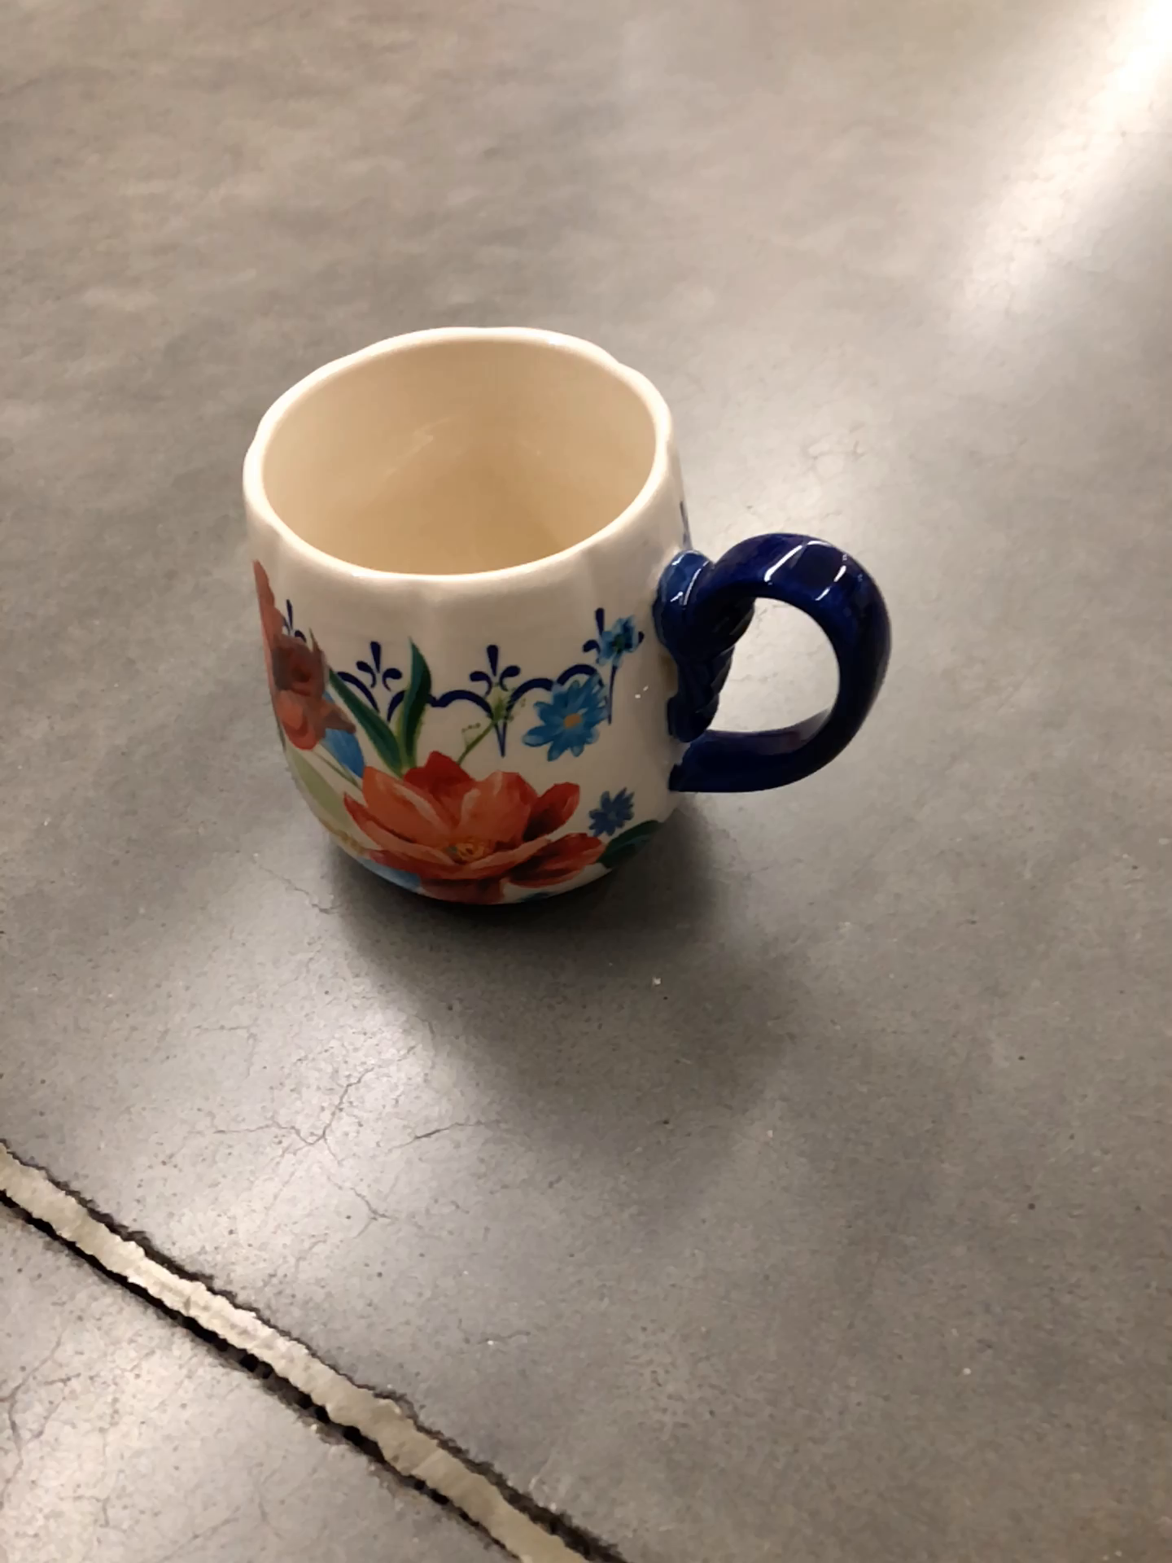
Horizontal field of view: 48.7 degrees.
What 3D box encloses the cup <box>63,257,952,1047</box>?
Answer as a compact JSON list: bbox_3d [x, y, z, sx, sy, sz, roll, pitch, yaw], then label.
[{"bbox_3d":[-0.010,-0.032,0.286,0.140,0.099,0.100,18,54,19],"label":"cup"}]
